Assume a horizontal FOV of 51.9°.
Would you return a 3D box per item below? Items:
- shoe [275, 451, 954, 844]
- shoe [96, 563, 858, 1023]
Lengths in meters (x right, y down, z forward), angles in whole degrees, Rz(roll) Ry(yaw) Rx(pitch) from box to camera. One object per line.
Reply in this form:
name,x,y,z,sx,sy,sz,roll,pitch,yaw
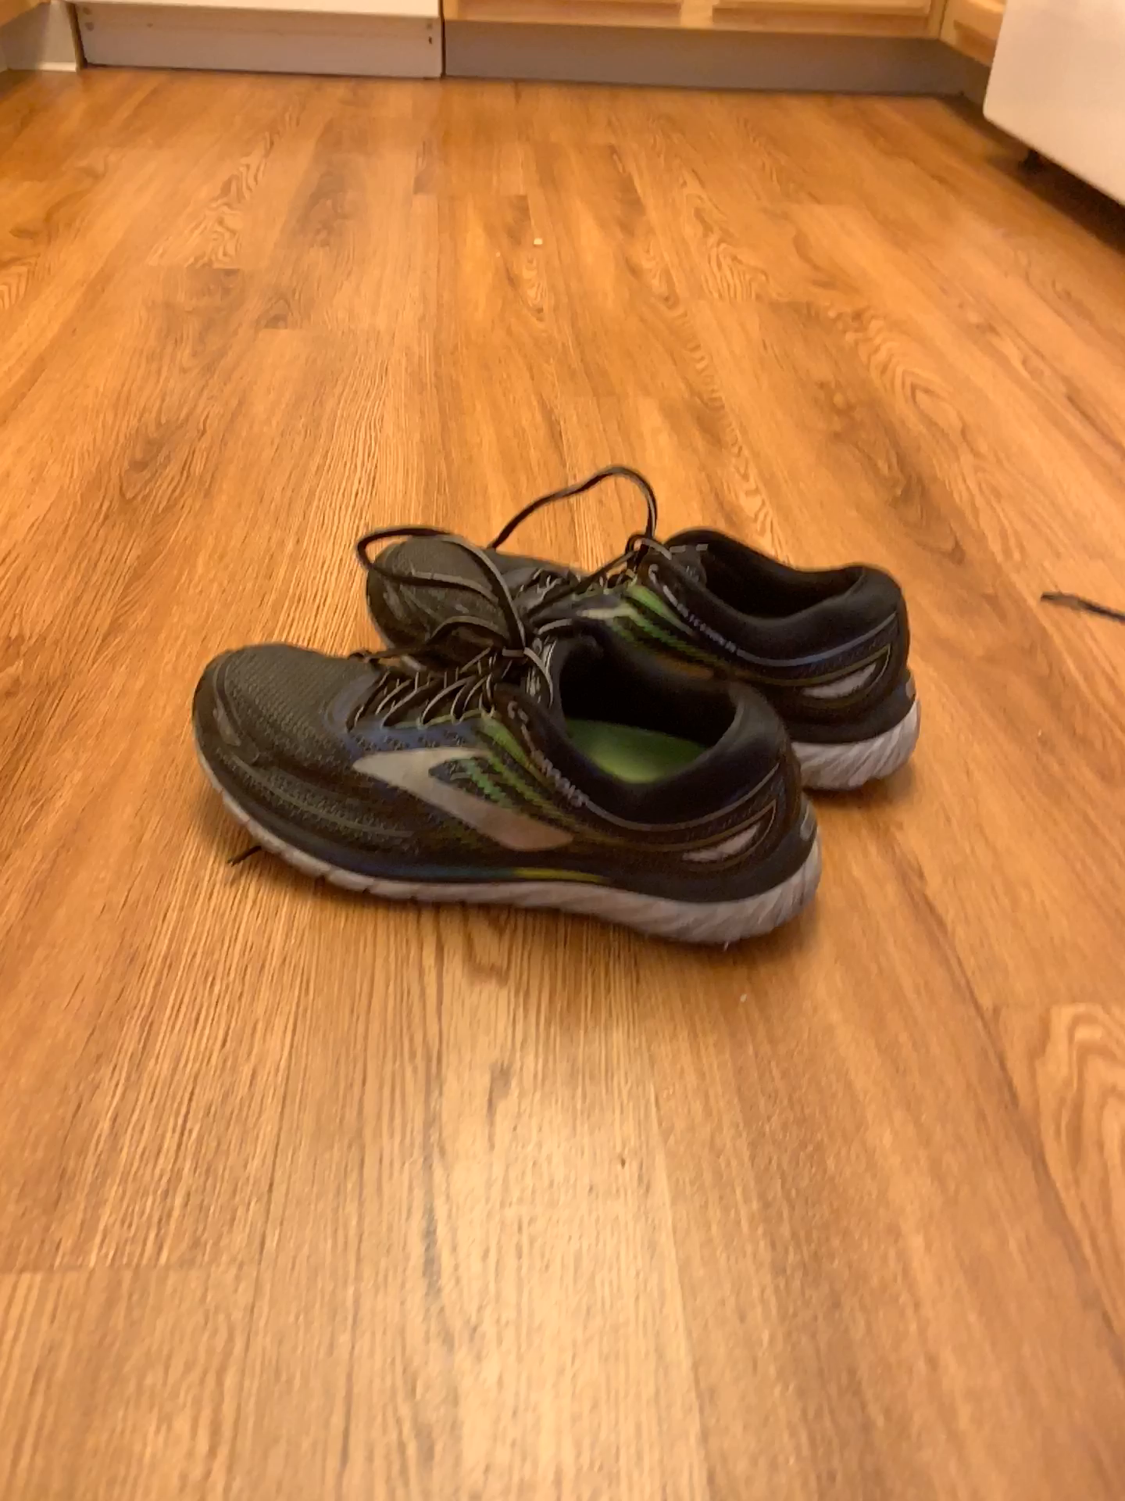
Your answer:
shoe,0.029,-0.064,0.643,0.340,0.109,0.121,12,40,10
shoe,-0.036,0.013,0.549,0.320,0.109,0.111,12,40,10
